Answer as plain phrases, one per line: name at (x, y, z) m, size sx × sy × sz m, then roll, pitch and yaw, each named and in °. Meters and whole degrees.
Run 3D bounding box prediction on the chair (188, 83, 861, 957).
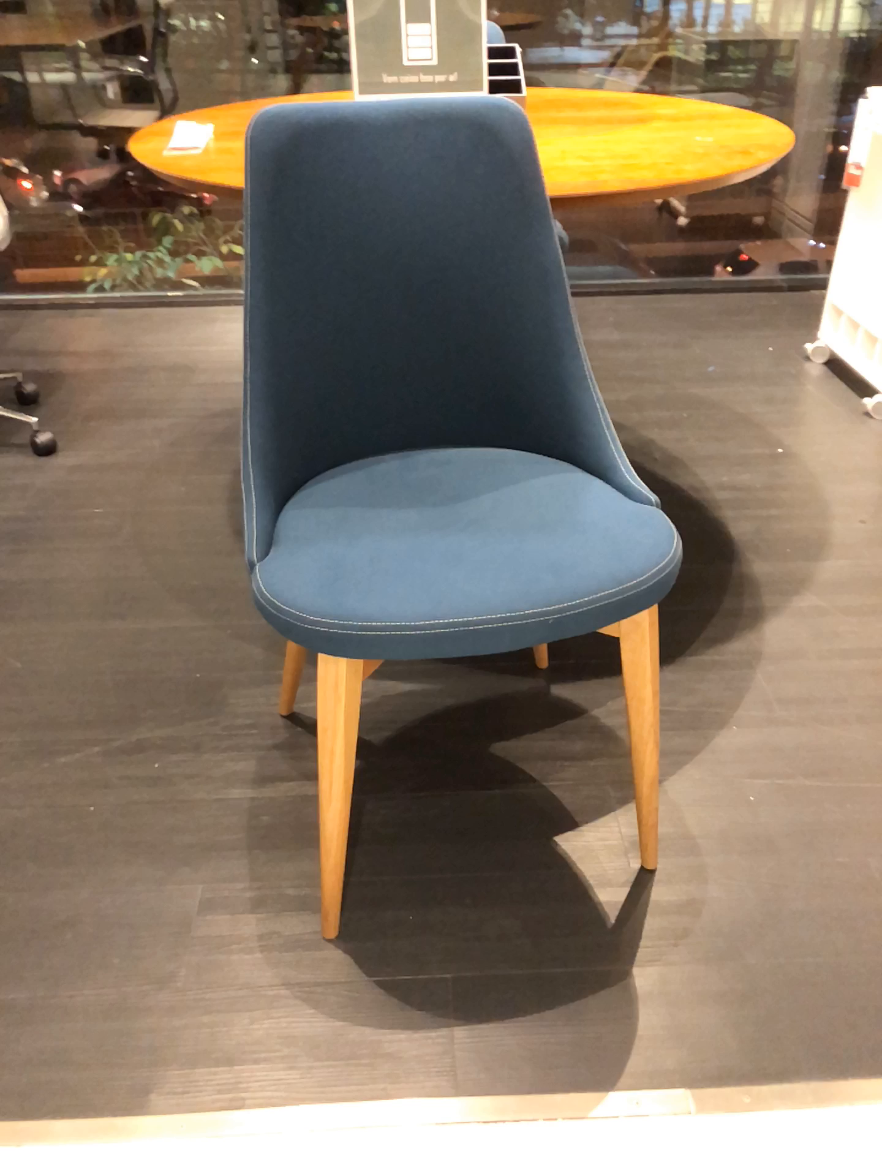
chair at (0.029, -0.103, 1.189) m, size 0.520 × 0.853 × 0.544 m, roll -8°, pitch 34°, yaw -12°
